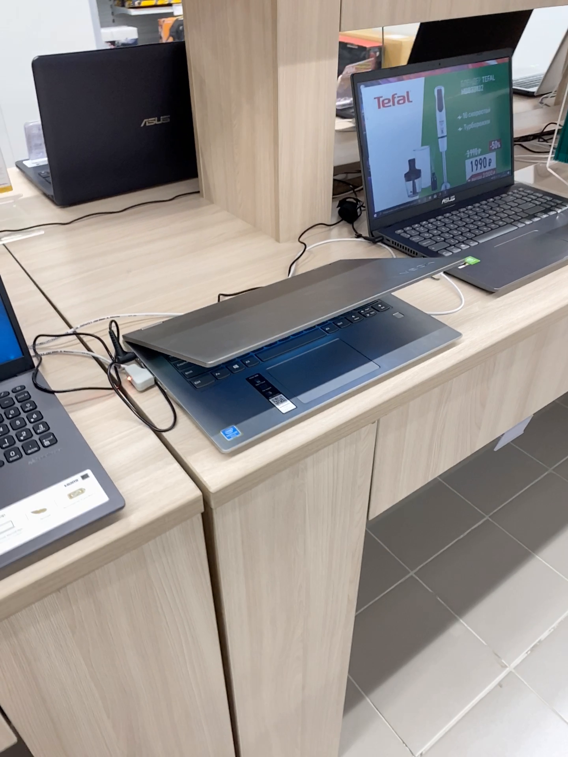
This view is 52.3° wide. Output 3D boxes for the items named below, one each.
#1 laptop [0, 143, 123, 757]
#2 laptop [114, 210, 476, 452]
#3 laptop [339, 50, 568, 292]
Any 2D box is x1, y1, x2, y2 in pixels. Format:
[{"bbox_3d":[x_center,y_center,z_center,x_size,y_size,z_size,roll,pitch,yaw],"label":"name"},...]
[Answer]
[{"bbox_3d":[-0.360,0.002,0.419,0.352,0.212,0.309,-23,42,-28],"label":"laptop"},{"bbox_3d":[0.014,-0.079,0.647,0.326,0.082,0.218,-23,43,-28],"label":"laptop"},{"bbox_3d":[0.339,-0.343,0.885,0.390,0.215,0.304,-25,44,-30],"label":"laptop"}]
